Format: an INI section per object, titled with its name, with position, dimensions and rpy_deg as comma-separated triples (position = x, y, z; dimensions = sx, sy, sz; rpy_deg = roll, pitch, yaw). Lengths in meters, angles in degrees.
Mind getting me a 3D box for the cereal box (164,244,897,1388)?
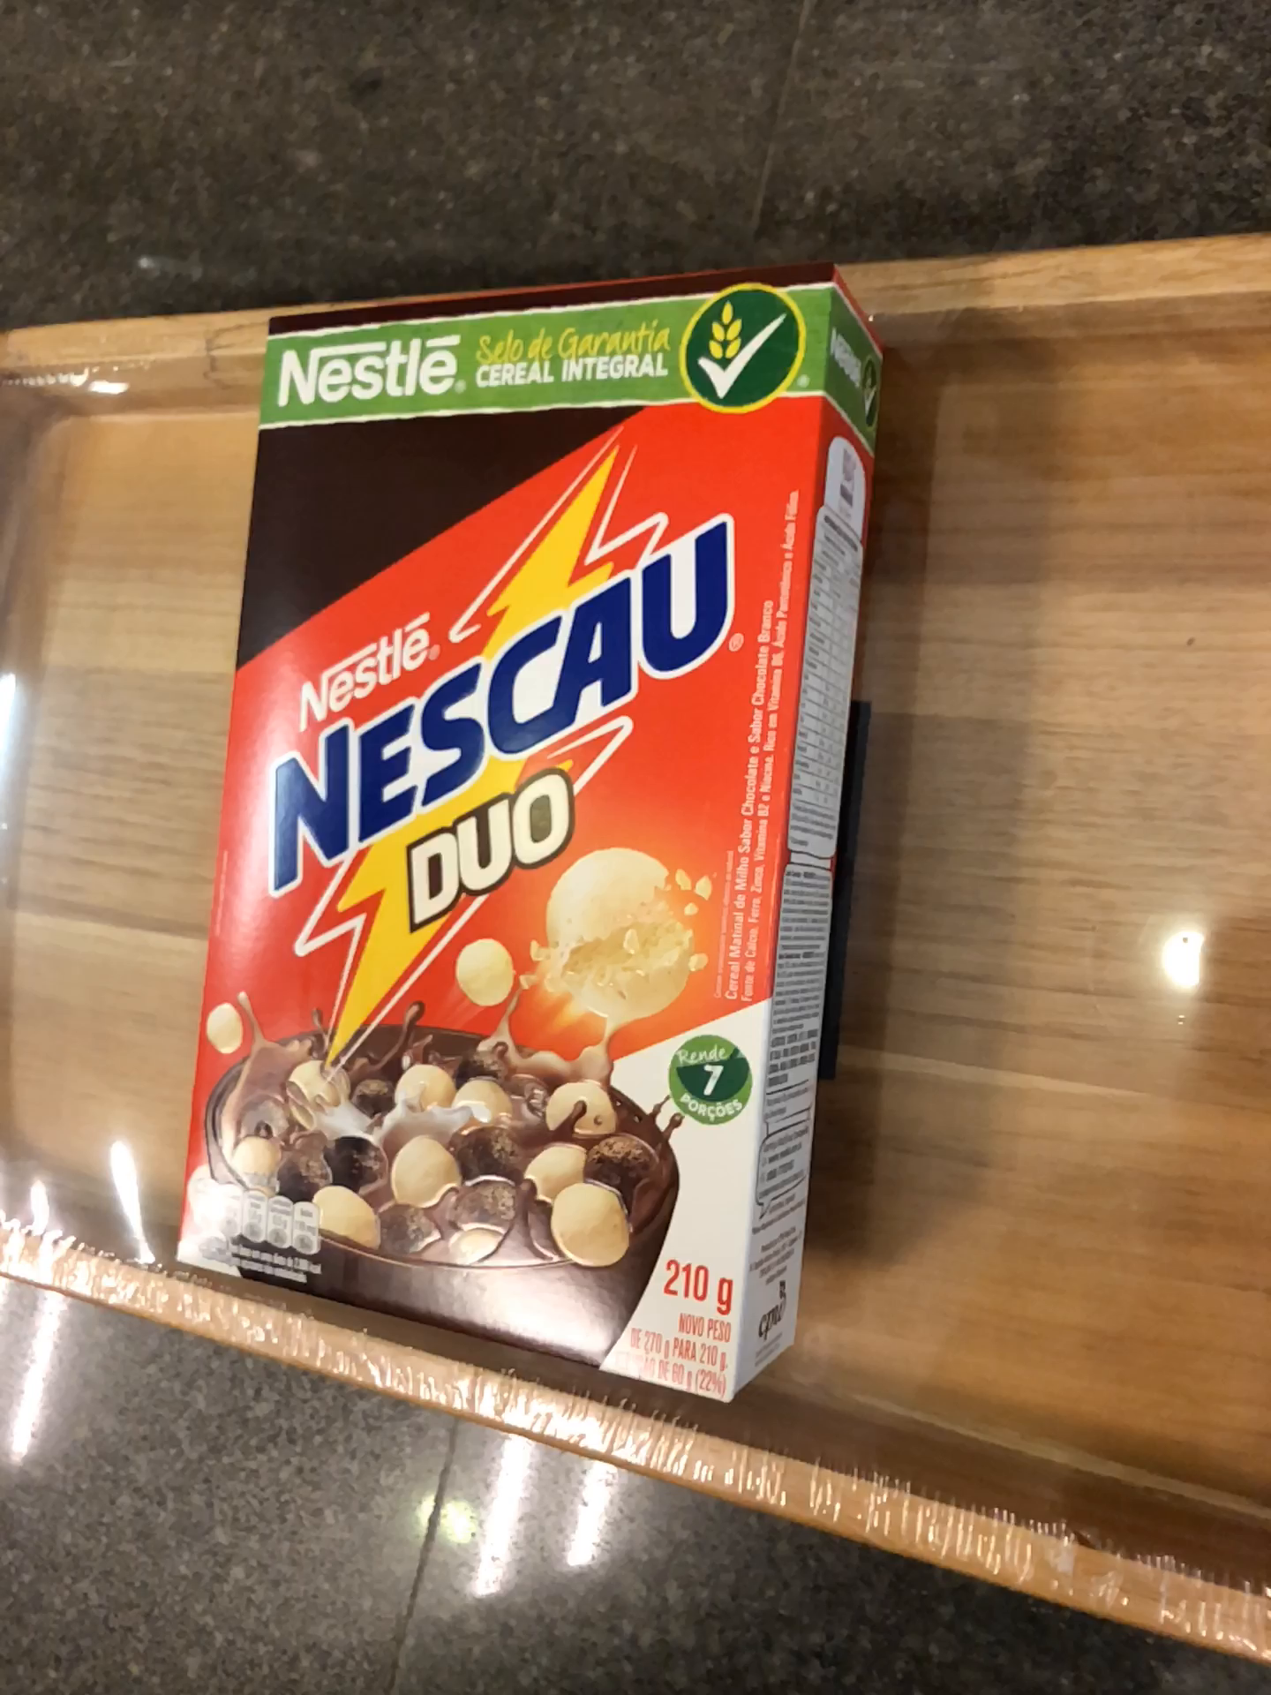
[cereal box]
position = -0.029, -0.013, 0.363
dimensions = 0.160, 0.050, 0.250
rpy_deg = 5, 89, 24
